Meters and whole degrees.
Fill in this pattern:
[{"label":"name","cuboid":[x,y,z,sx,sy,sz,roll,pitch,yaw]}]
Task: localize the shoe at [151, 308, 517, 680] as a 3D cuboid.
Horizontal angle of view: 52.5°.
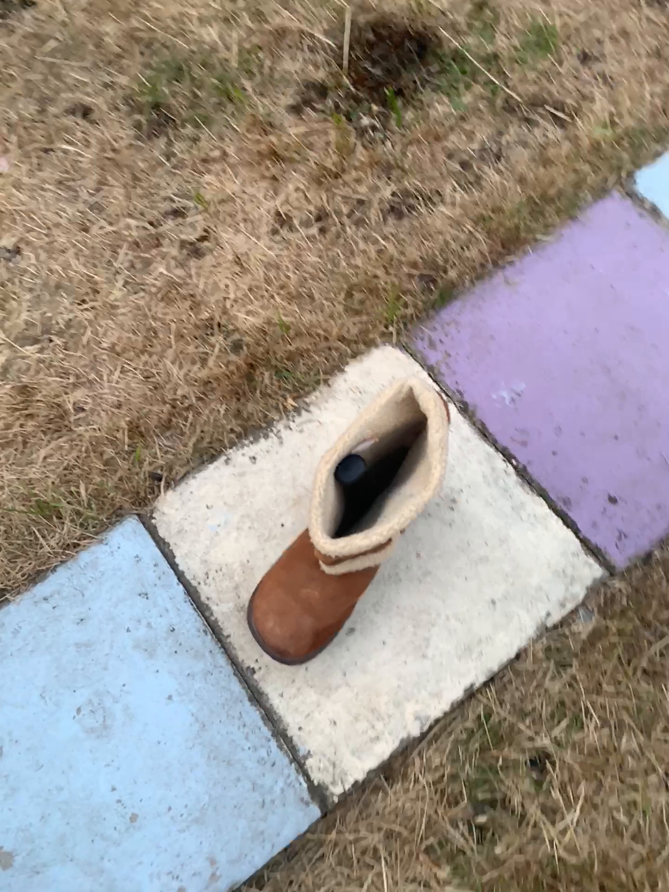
[{"label":"shoe","cuboid":[0.008,0.070,0.619,0.110,0.299,0.261,41,75,15]}]
